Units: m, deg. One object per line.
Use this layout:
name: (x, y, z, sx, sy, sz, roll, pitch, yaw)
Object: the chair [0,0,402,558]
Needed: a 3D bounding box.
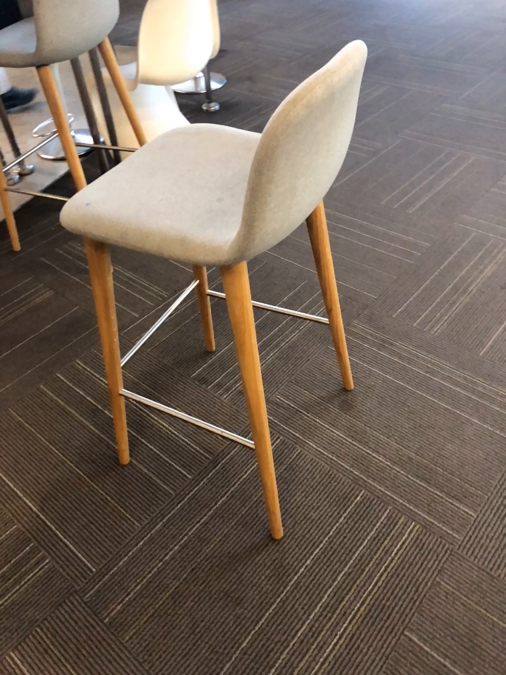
chair: (-0.085, -0.128, 1.170, 0.561, 0.945, 0.572, 14, 44, 21)
